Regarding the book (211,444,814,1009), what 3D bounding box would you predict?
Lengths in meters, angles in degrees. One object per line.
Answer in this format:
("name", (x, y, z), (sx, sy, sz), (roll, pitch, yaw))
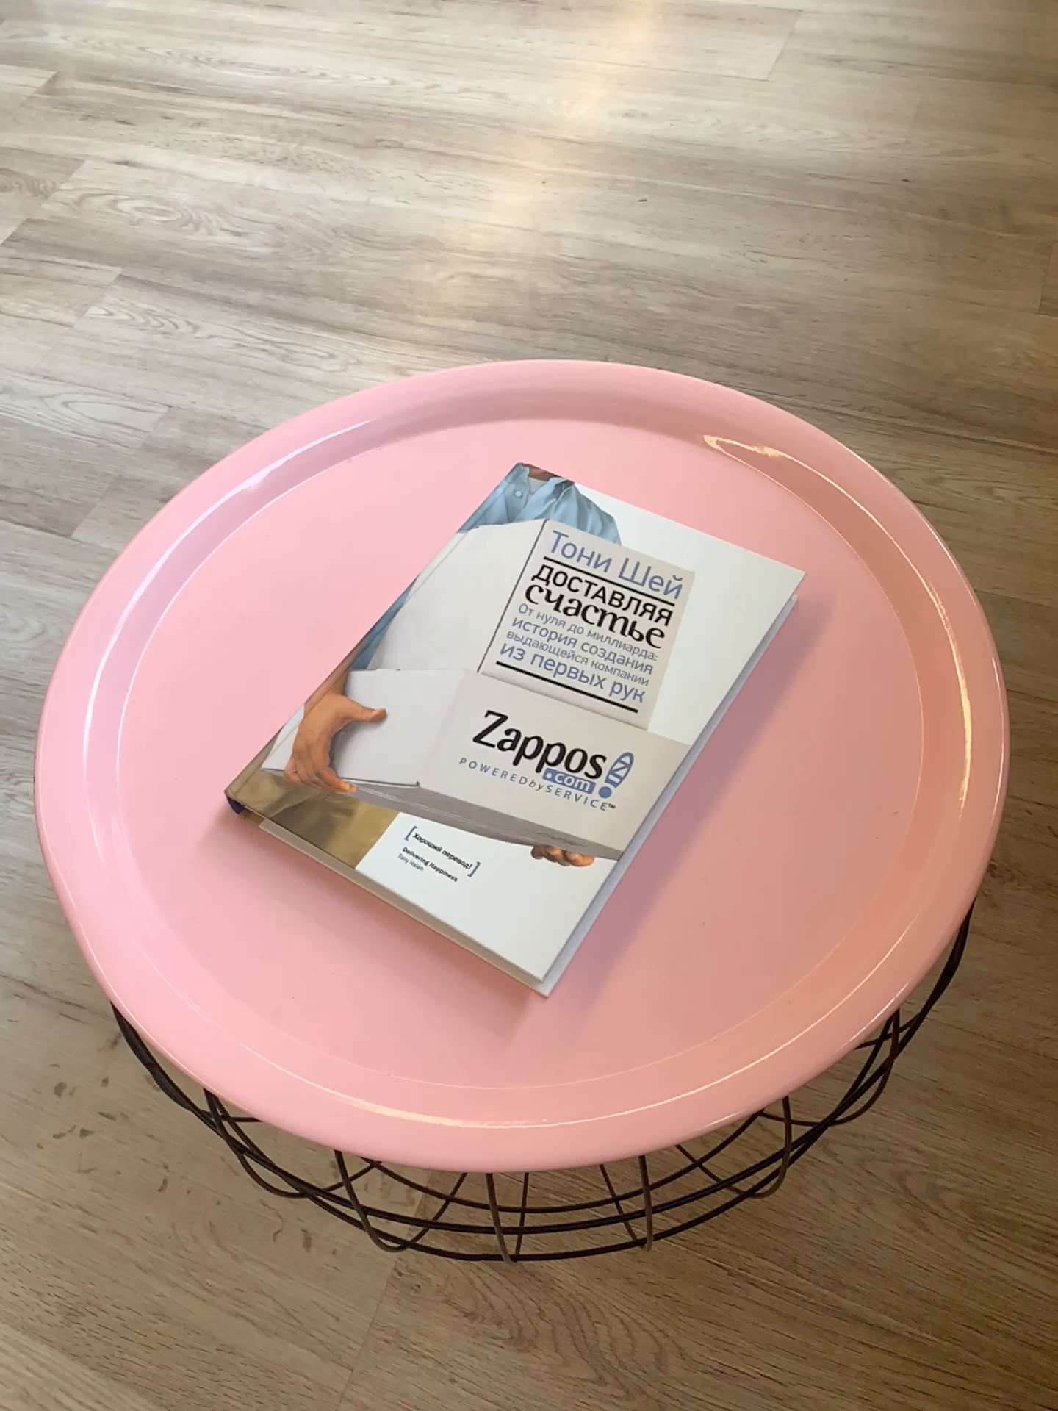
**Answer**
("book", (-0.001, -0.008, 0.496), (0.170, 0.030, 0.232), (27, 63, 21))
